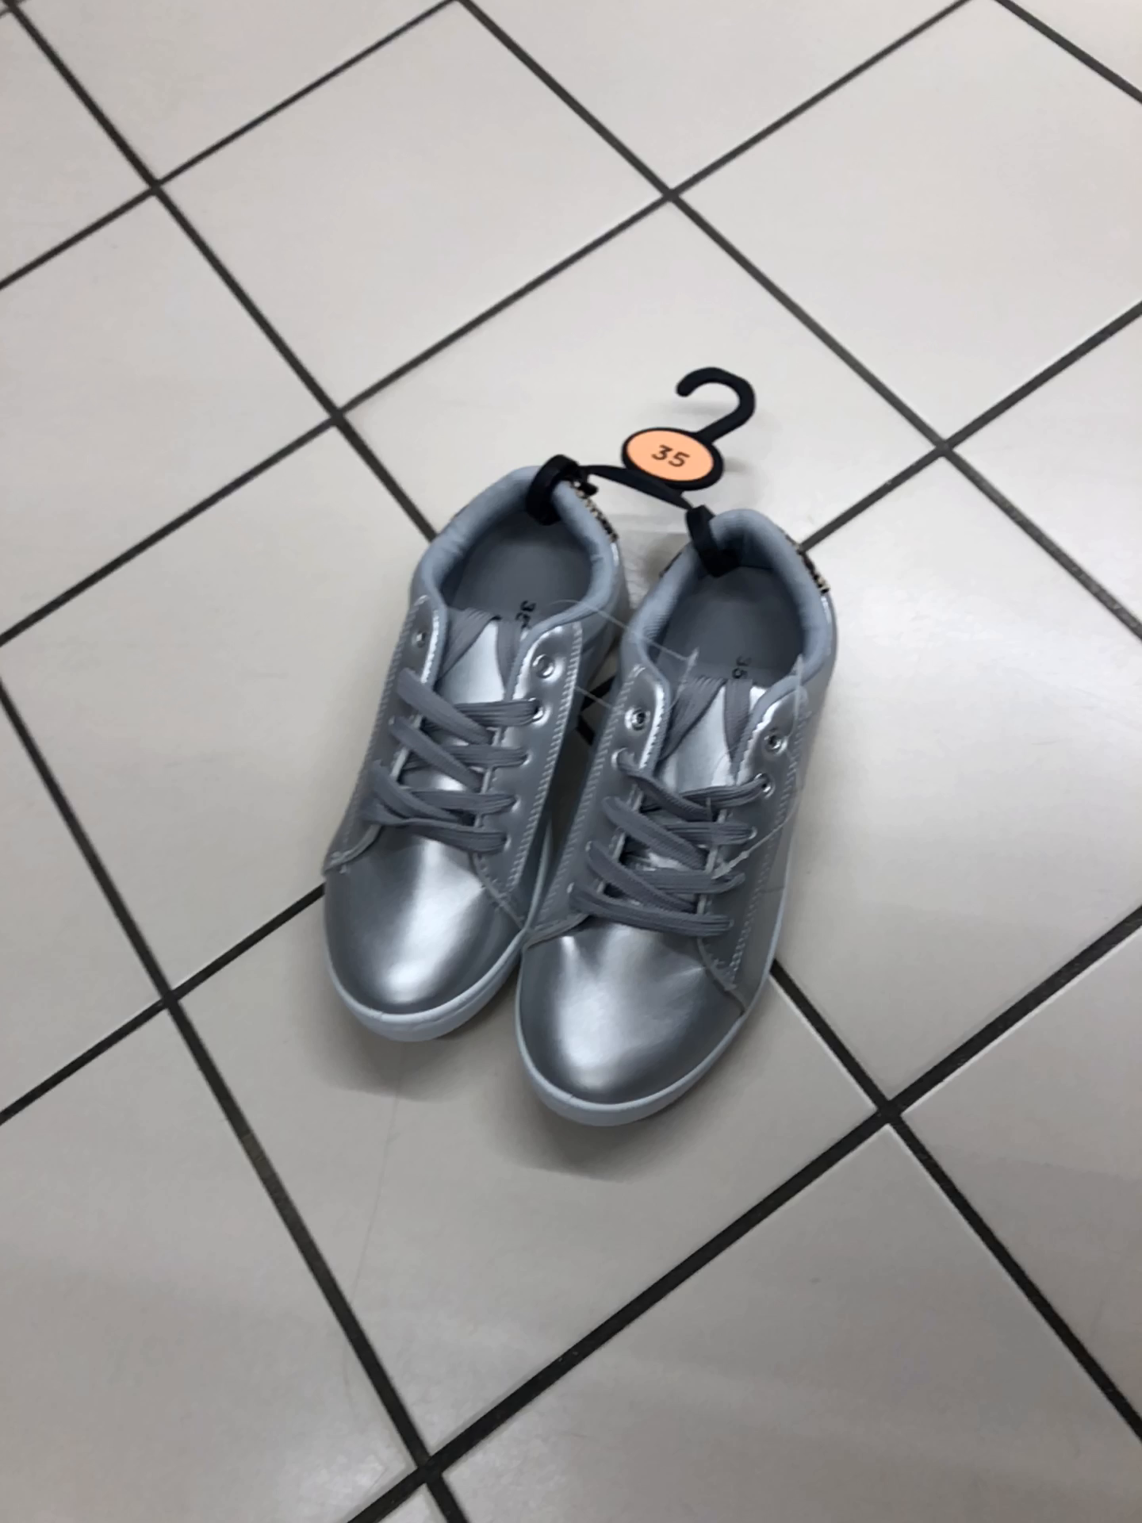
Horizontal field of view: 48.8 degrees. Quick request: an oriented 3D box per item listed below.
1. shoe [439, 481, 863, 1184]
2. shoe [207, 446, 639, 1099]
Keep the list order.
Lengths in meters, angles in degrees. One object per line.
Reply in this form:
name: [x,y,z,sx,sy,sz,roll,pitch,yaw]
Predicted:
shoe: [0.038,0.024,0.467,0.090,0.090,0.231,11,70,14]
shoe: [-0.047,0.002,0.498,0.090,0.090,0.231,10,70,13]
